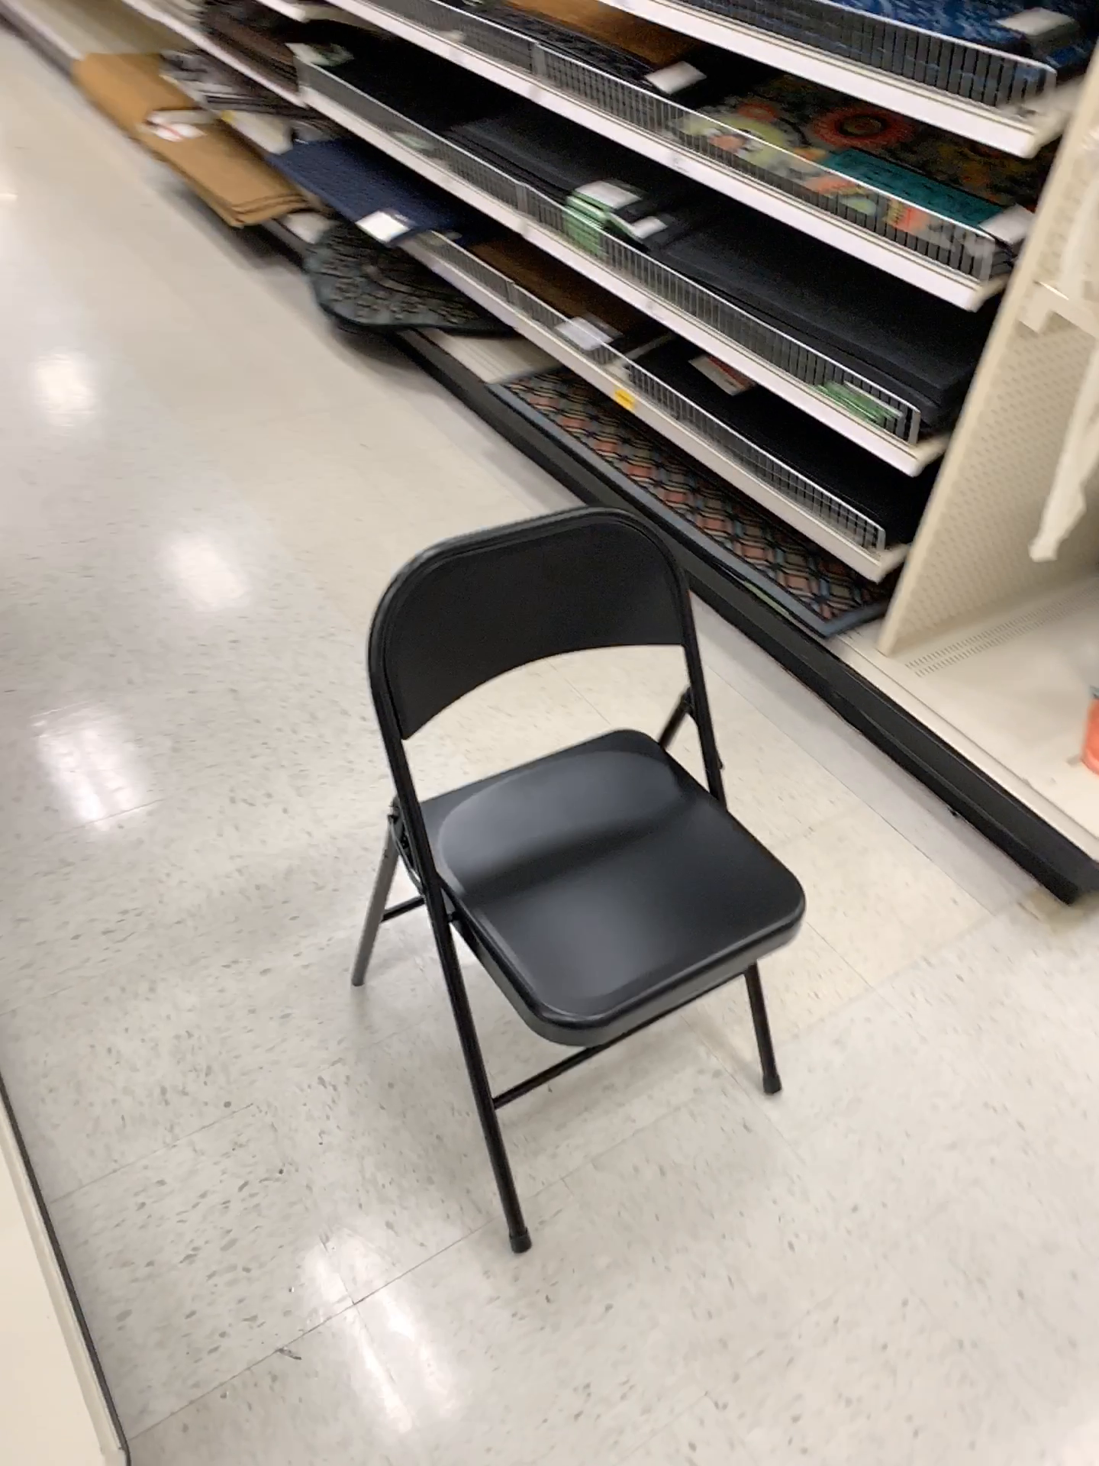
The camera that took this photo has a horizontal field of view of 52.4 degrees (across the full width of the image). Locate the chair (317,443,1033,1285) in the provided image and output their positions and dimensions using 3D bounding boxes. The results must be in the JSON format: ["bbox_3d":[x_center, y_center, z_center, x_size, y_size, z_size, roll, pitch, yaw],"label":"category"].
[{"bbox_3d":[0.074,0.142,1.360,0.491,0.716,0.552,-20,48,-29],"label":"chair"}]
